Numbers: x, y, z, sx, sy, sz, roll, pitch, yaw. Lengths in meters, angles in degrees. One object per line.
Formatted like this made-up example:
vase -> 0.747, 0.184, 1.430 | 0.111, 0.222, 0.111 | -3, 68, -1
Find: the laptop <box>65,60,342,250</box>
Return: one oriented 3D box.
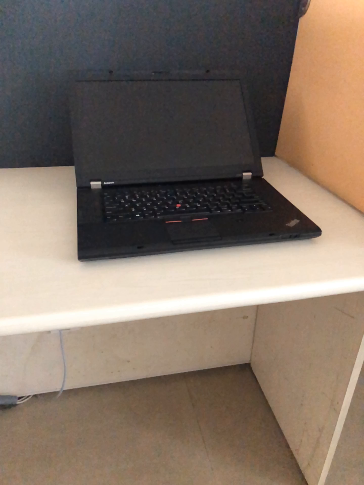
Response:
laptop -> -0.008, -0.182, 0.696 | 0.354, 0.185, 0.381 | -5, 32, -13
